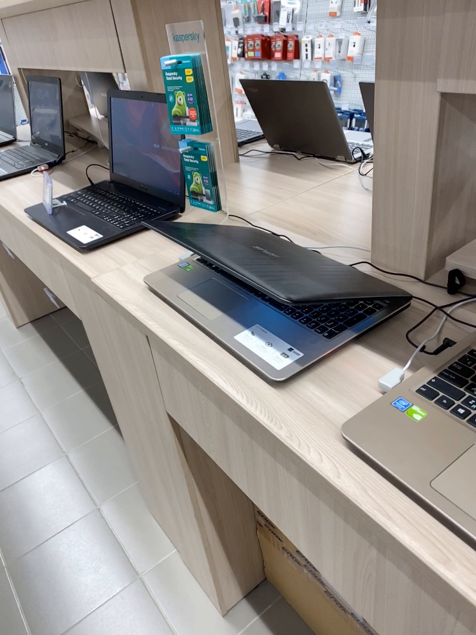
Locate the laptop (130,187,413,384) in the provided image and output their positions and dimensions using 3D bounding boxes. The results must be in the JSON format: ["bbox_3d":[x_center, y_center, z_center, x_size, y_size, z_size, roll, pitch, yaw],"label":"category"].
[{"bbox_3d":[0.031,-0.082,0.753,0.240,0.094,0.384,-27,37,-25],"label":"laptop"}]

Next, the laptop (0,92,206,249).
[{"bbox_3d":[-0.341,-0.382,1.172,0.317,0.235,0.422,-27,36,-26],"label":"laptop"}]
